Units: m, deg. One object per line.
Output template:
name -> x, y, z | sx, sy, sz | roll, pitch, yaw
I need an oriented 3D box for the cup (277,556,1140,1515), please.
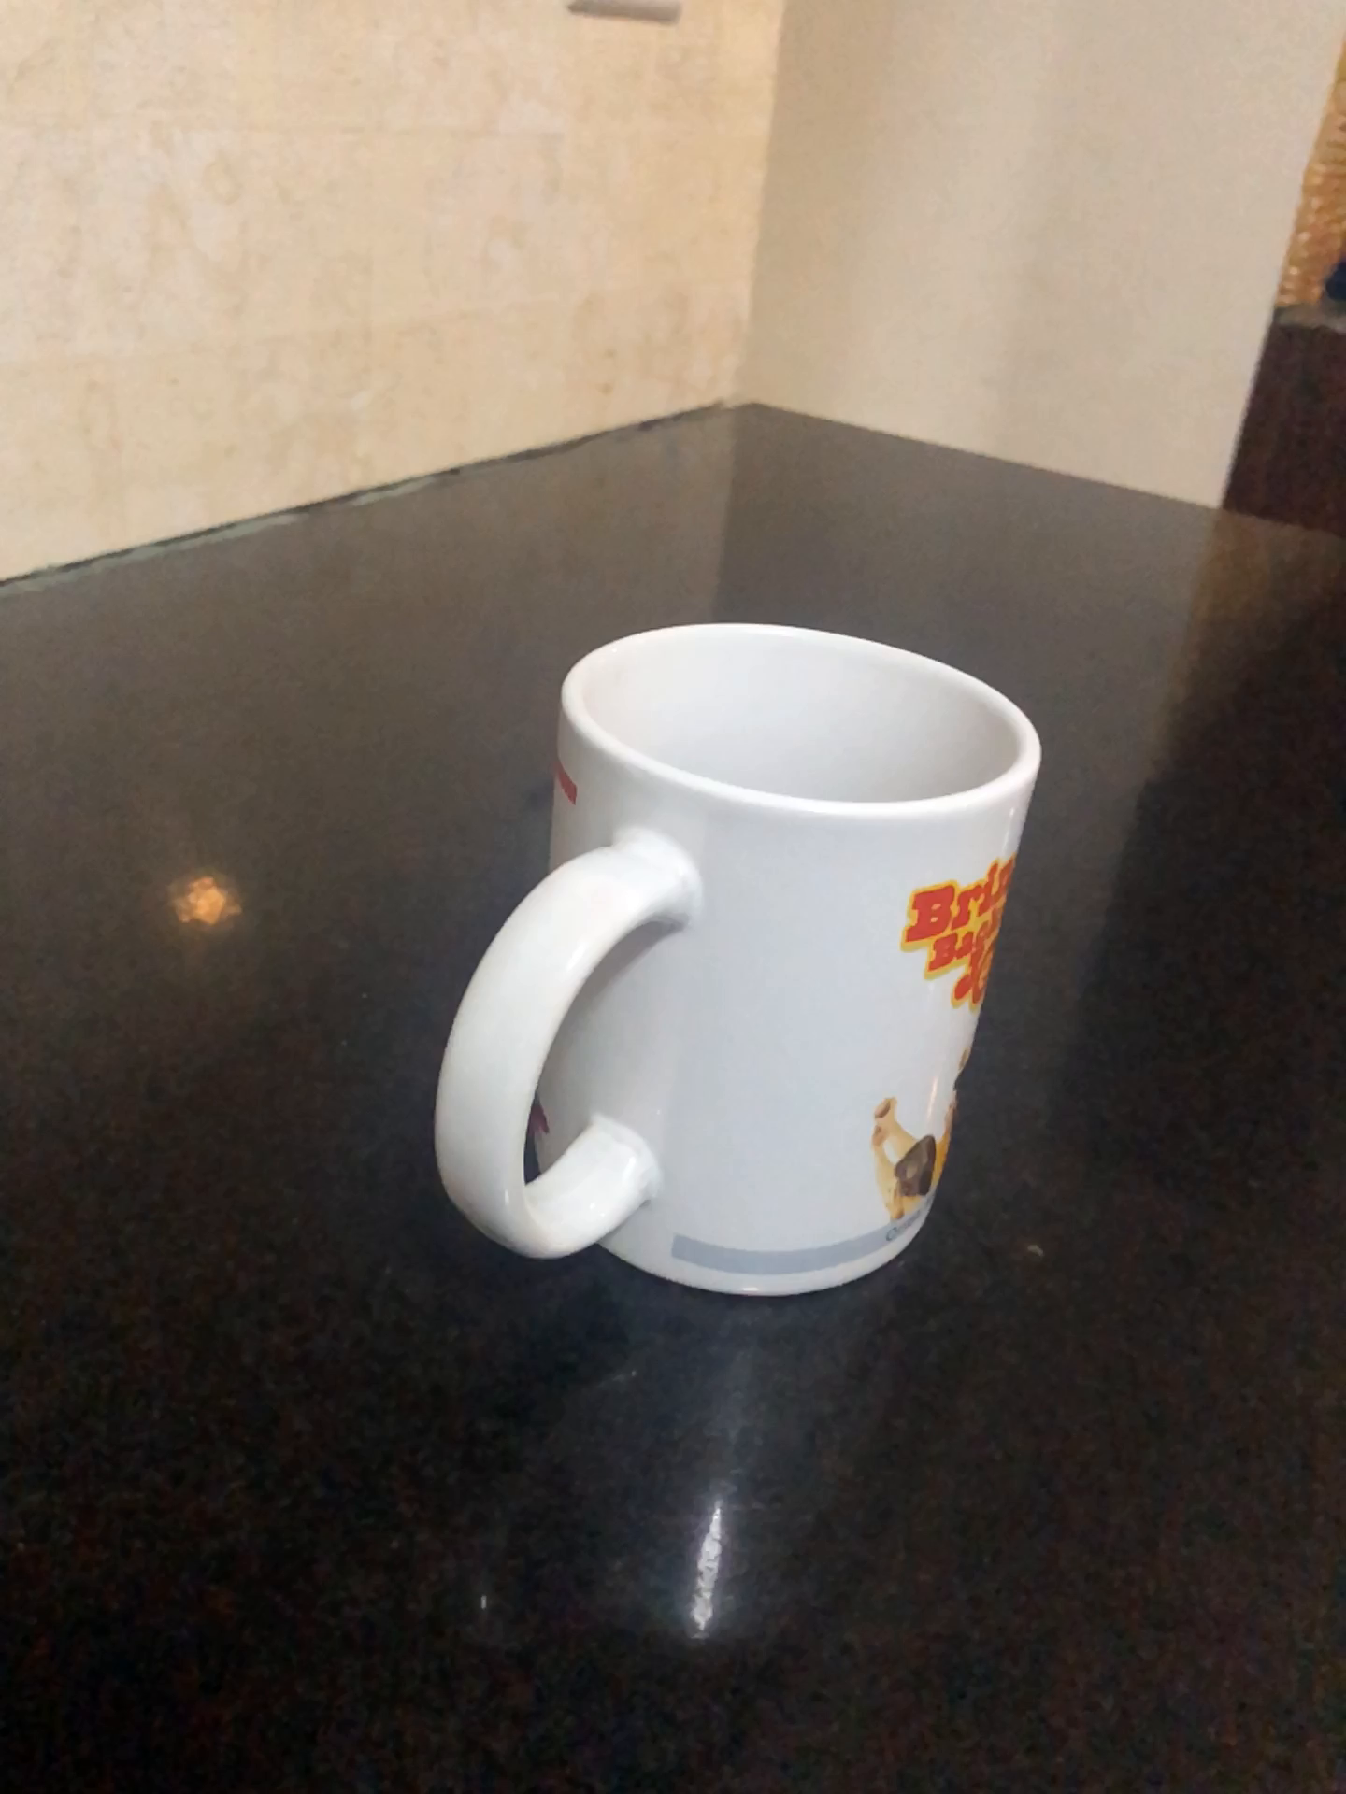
cup -> 0.008, 0.011, 0.257 | 0.080, 0.099, 0.121 | 24, 34, 29
